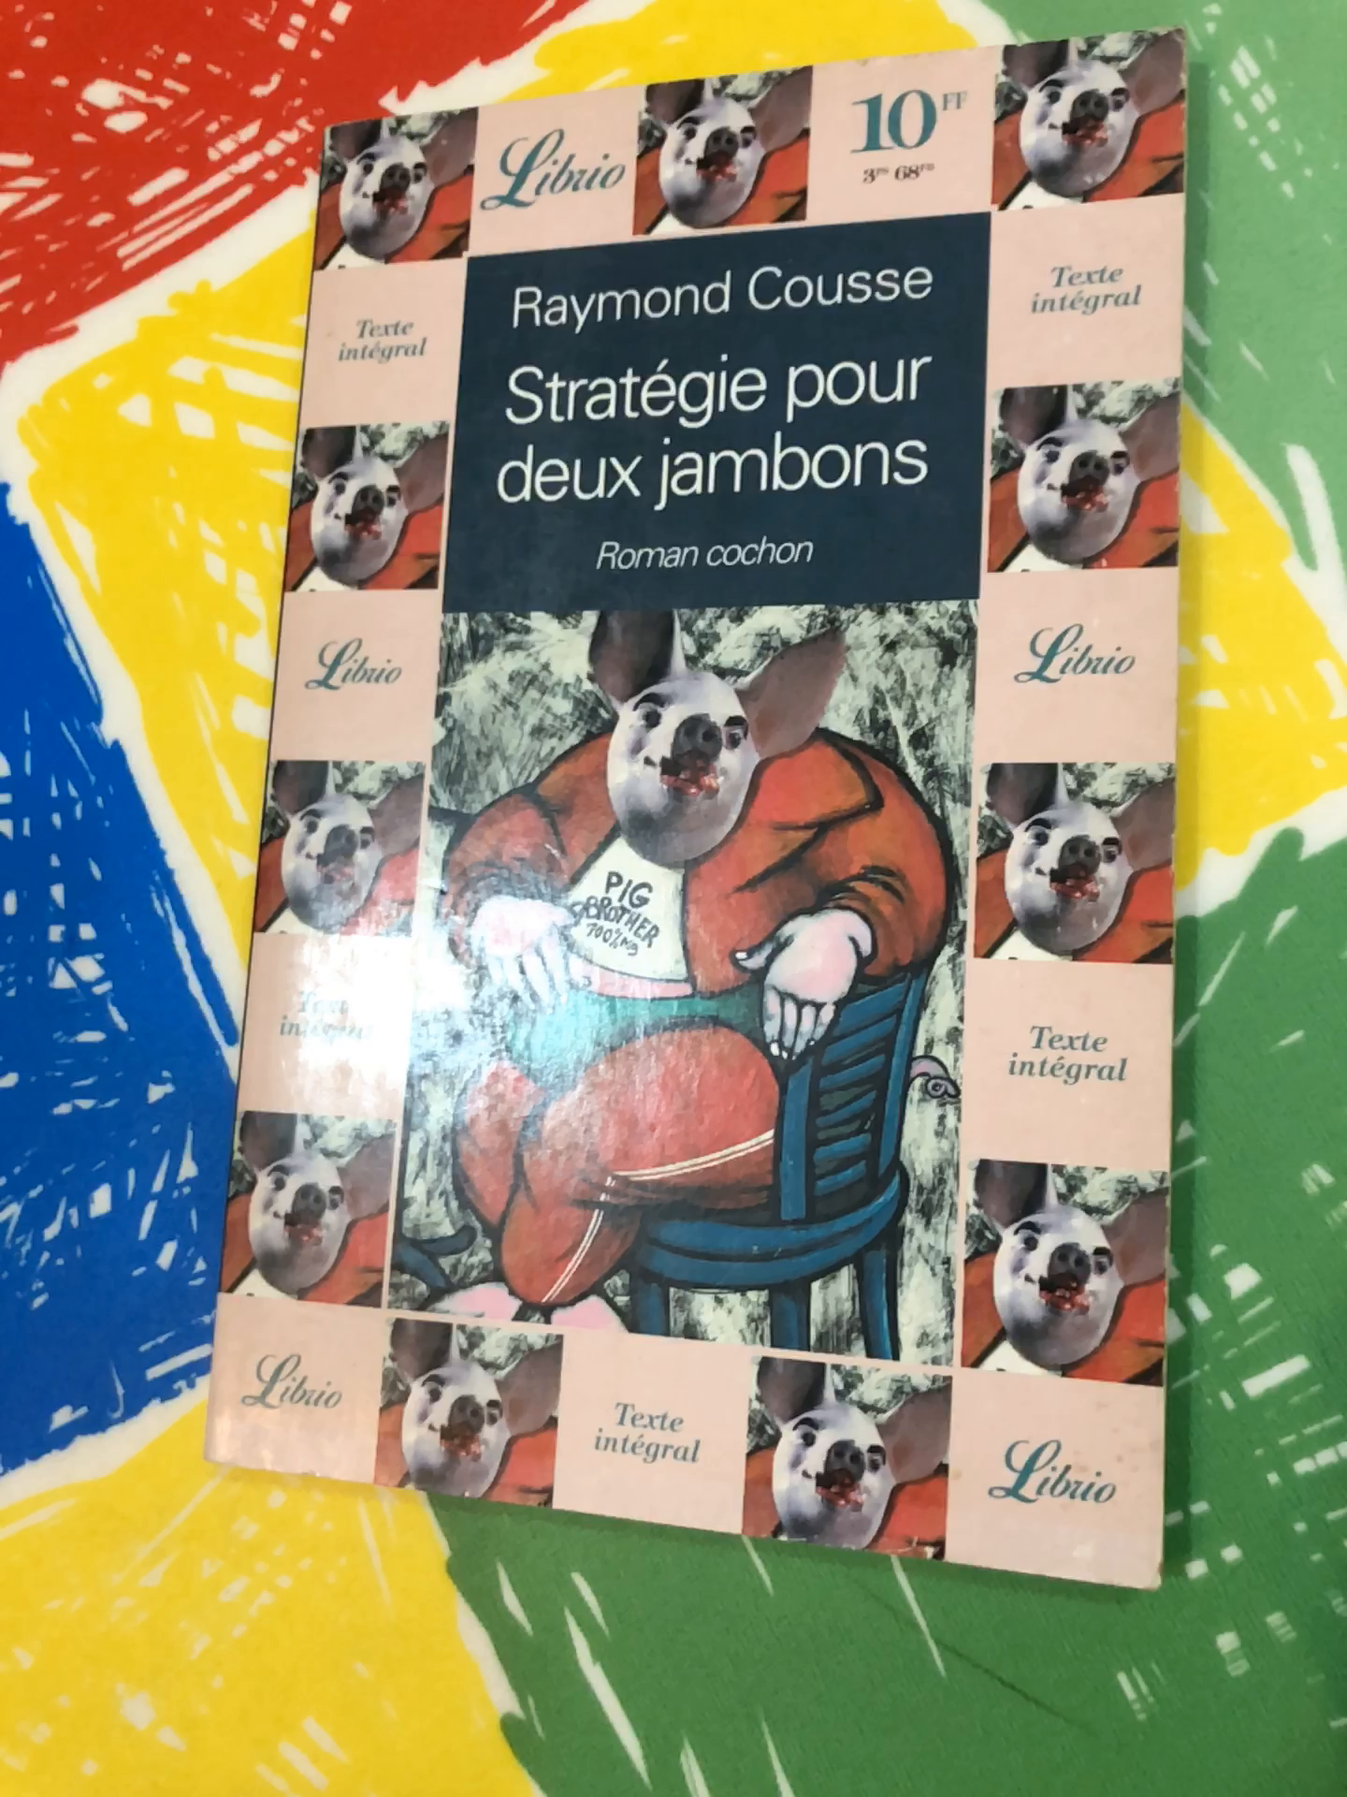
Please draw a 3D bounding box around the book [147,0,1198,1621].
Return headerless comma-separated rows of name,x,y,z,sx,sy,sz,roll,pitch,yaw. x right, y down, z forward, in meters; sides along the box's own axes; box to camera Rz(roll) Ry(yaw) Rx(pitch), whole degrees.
book,0.000,-0.019,0.202,0.130,0.014,0.197,1,83,15
